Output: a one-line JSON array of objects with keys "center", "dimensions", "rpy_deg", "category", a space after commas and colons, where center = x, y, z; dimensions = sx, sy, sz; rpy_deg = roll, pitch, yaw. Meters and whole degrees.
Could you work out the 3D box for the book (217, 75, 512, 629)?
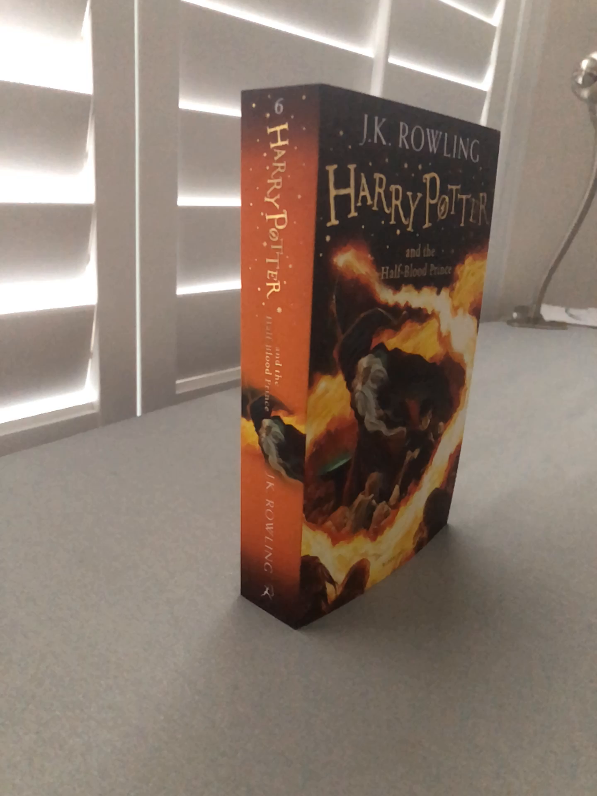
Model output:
[{"center": [0.033, -0.024, 0.294], "dimensions": [0.047, 0.194, 0.142], "rpy_deg": [14, 20, 38], "category": "book"}]
